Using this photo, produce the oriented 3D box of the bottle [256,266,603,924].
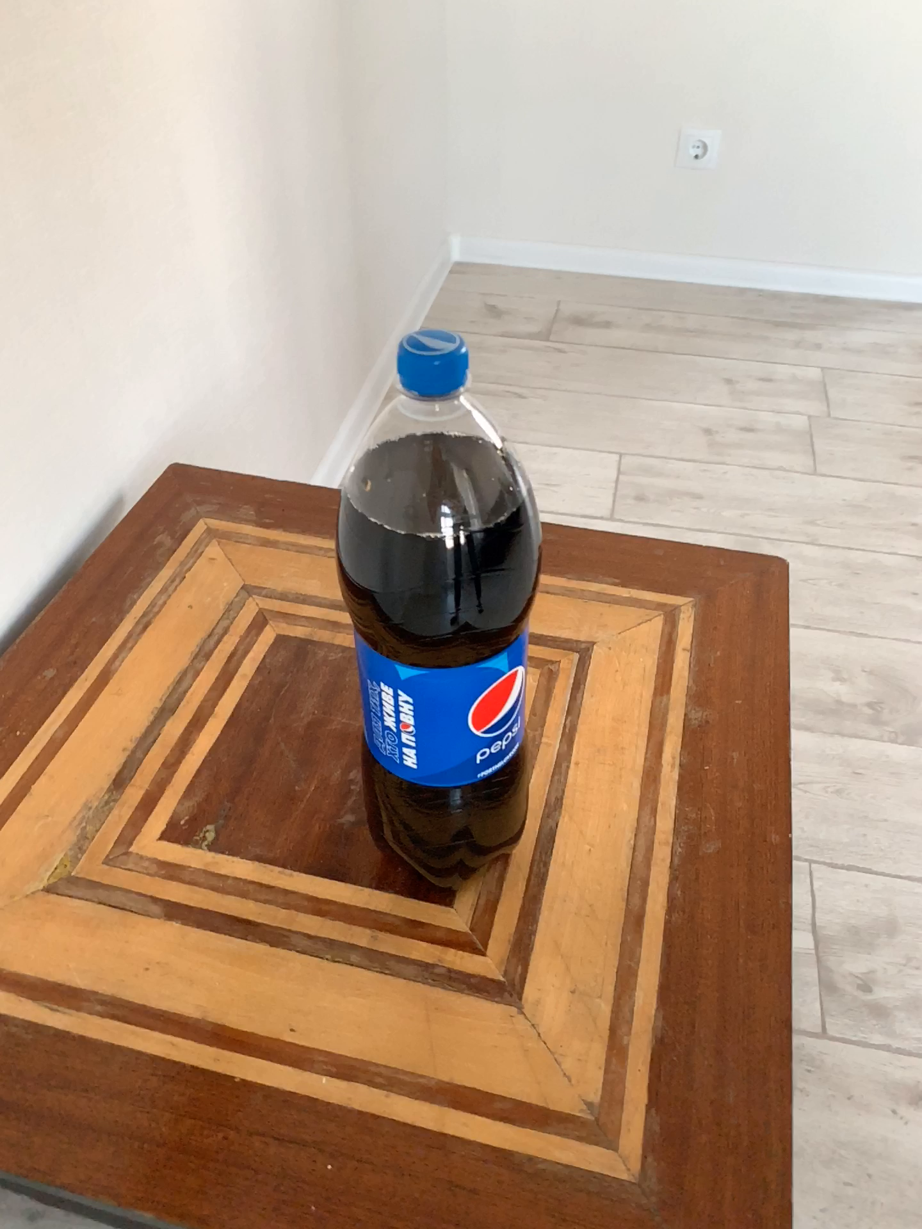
[{"bbox_3d":[-0.013,0.011,0.498,0.100,0.338,0.100,0,42,0],"label":"bottle"}]
